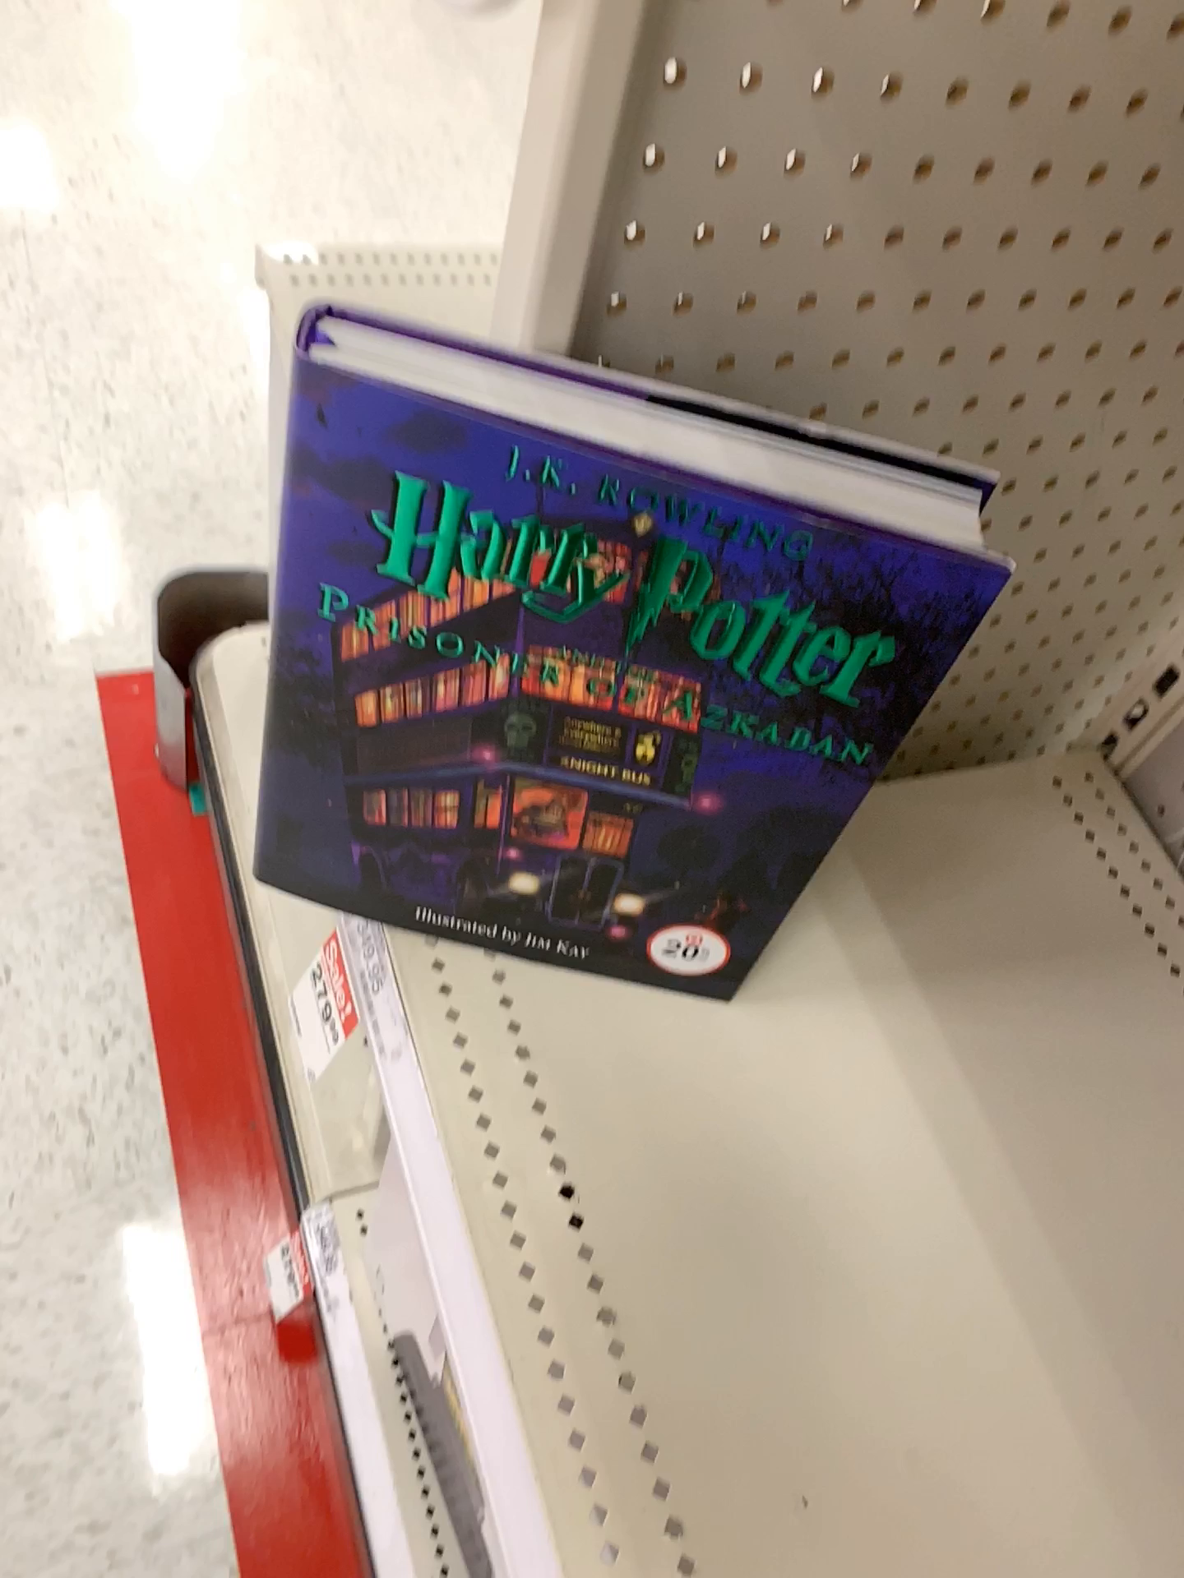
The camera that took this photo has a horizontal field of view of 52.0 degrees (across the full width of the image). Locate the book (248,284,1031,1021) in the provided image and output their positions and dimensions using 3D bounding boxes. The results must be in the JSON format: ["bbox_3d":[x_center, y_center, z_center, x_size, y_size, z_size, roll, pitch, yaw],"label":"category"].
[{"bbox_3d":[-0.009,-0.025,0.483,0.240,0.280,0.050,14,48,-5],"label":"book"}]
